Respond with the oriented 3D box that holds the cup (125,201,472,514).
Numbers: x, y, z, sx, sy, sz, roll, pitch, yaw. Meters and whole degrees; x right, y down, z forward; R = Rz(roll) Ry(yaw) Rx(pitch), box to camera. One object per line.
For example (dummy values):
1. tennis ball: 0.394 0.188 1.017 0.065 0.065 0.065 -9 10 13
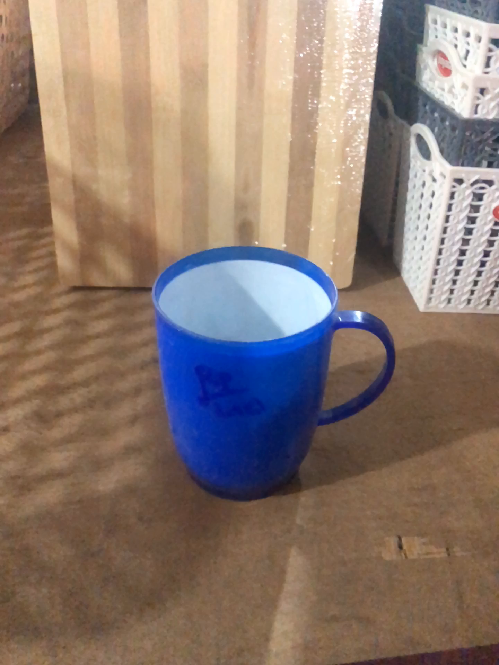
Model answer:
1. cup: 0.016 0.011 0.237 0.110 0.109 0.070 2 36 1
